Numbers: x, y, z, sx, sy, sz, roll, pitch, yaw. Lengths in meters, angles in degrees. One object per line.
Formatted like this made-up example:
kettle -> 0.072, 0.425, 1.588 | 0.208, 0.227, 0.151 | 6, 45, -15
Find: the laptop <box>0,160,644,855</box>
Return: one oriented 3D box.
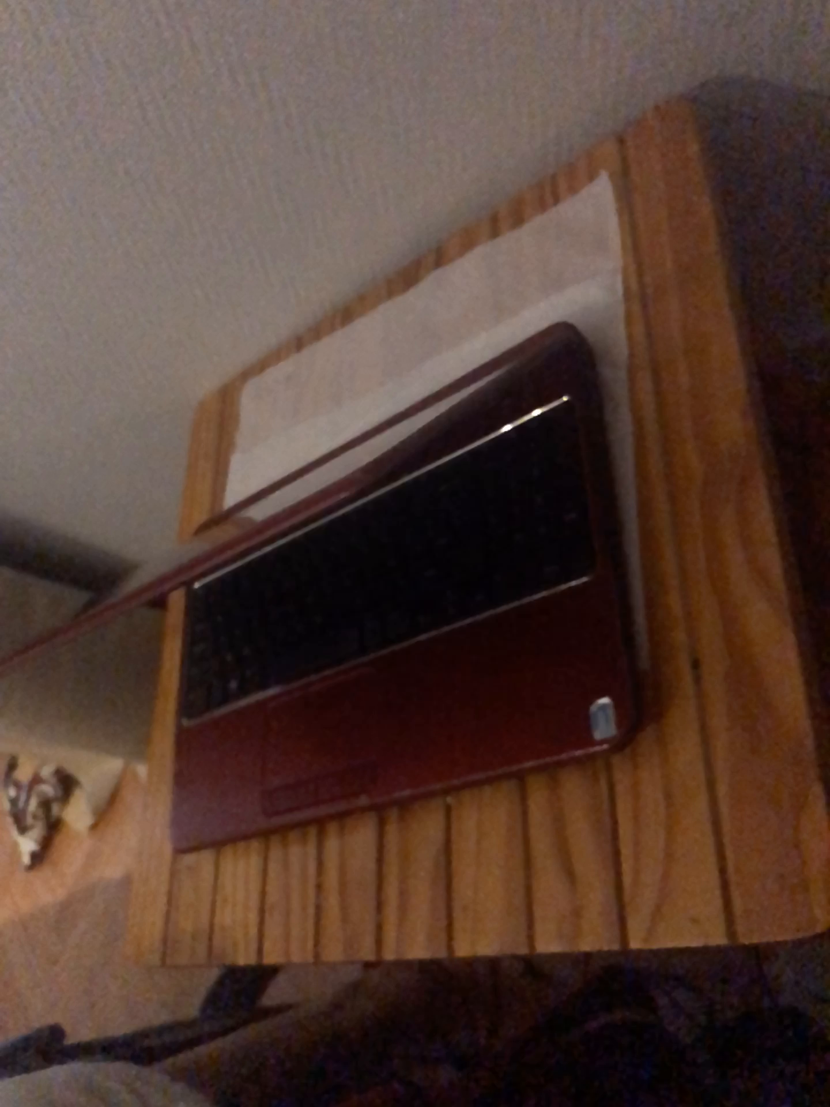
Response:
laptop -> -0.091, 0.006, 0.566 | 0.373, 0.168, 0.254 | -24, 54, 32
